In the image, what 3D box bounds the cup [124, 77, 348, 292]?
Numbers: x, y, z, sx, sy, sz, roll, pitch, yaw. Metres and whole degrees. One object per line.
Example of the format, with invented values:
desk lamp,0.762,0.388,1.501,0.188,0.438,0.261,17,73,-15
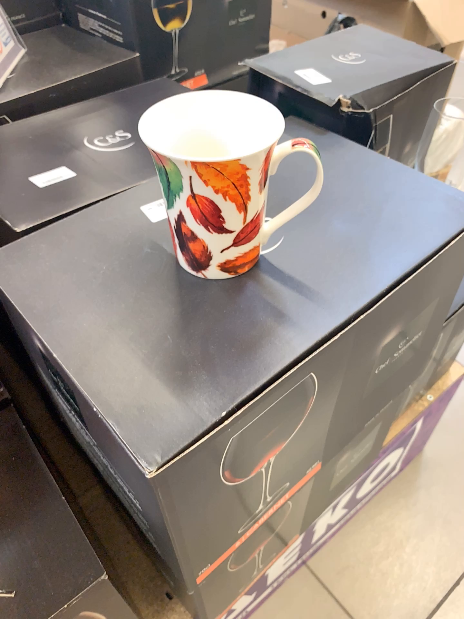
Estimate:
cup,0.009,-0.084,0.322,0.120,0.100,0.090,5,47,7
